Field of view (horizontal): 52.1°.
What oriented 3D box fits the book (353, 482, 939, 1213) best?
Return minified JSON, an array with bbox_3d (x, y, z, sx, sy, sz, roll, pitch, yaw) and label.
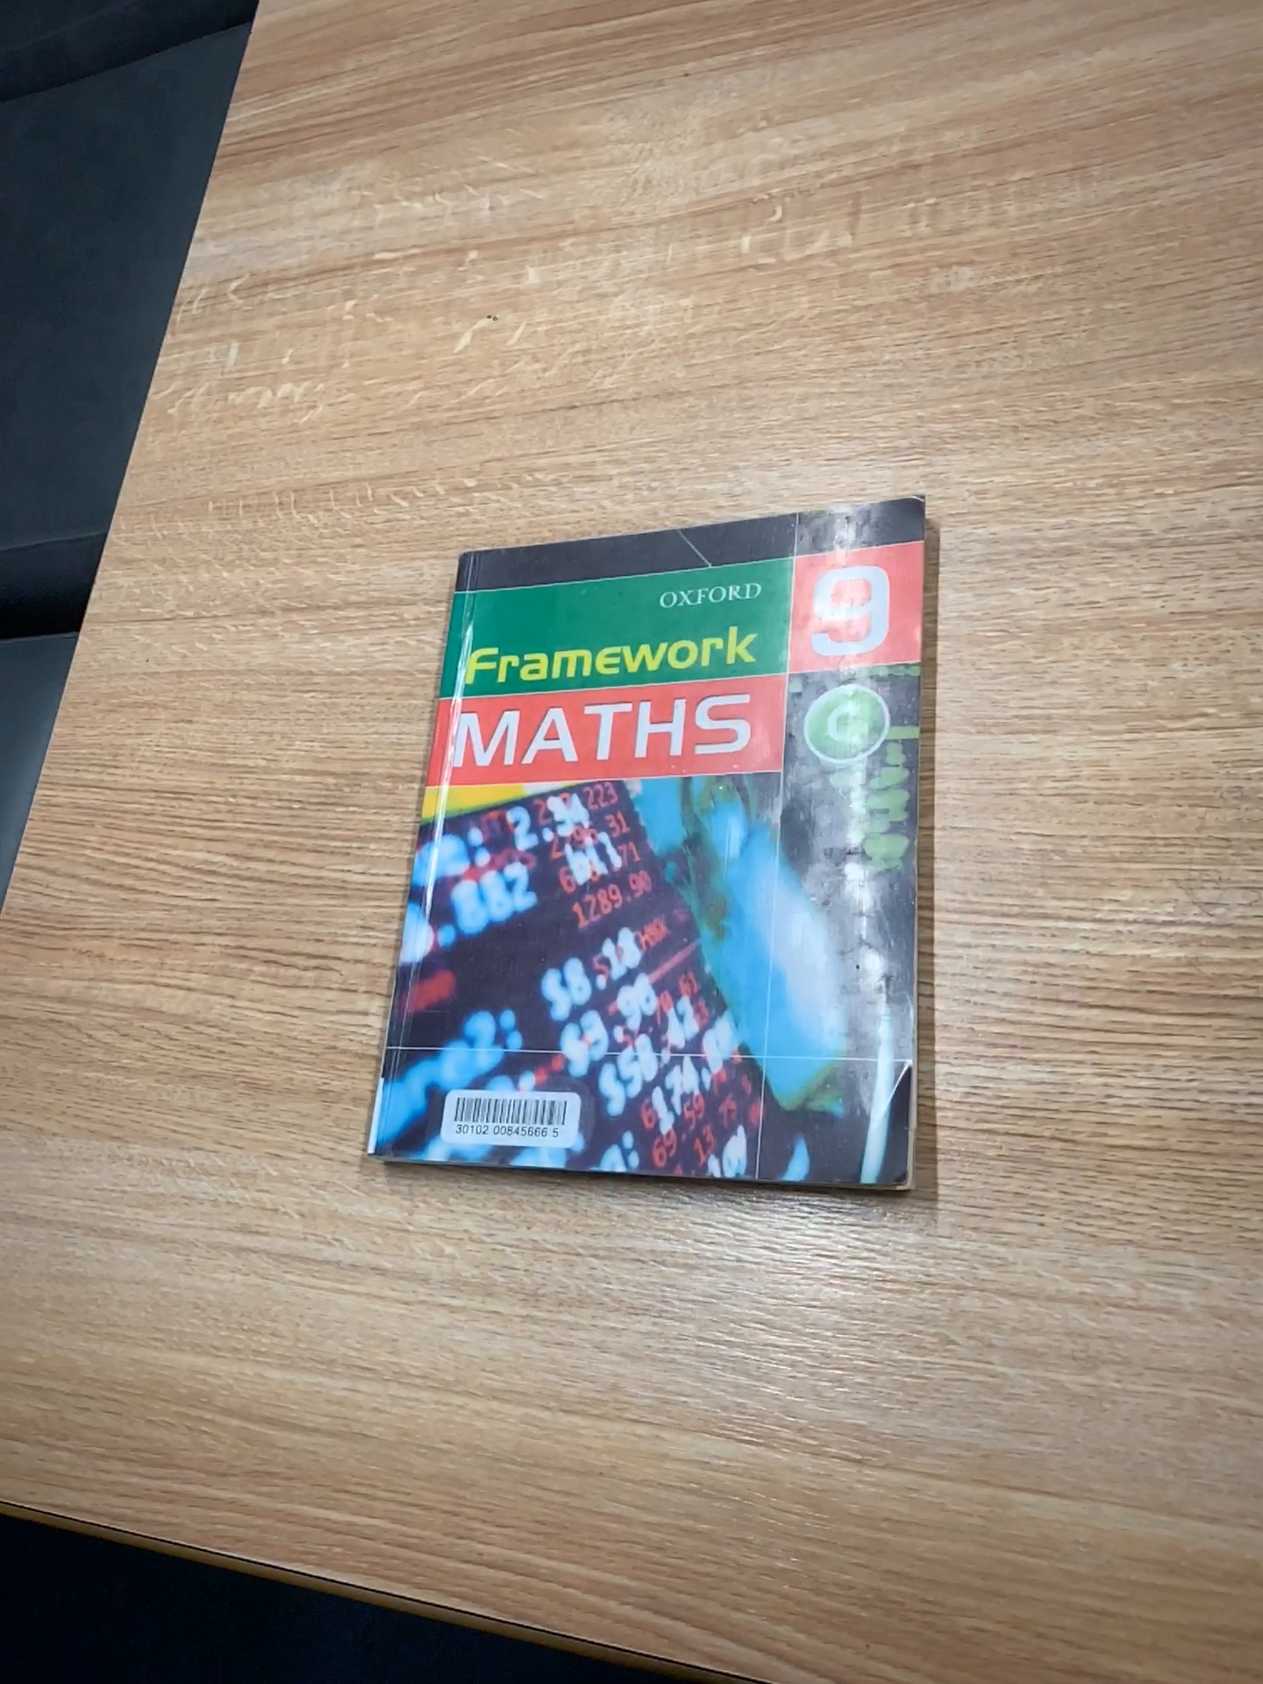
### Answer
[{"bbox_3d":[0.009,-0.004,0.451,0.190,0.020,0.244,-2,70,20],"label":"book"}]
